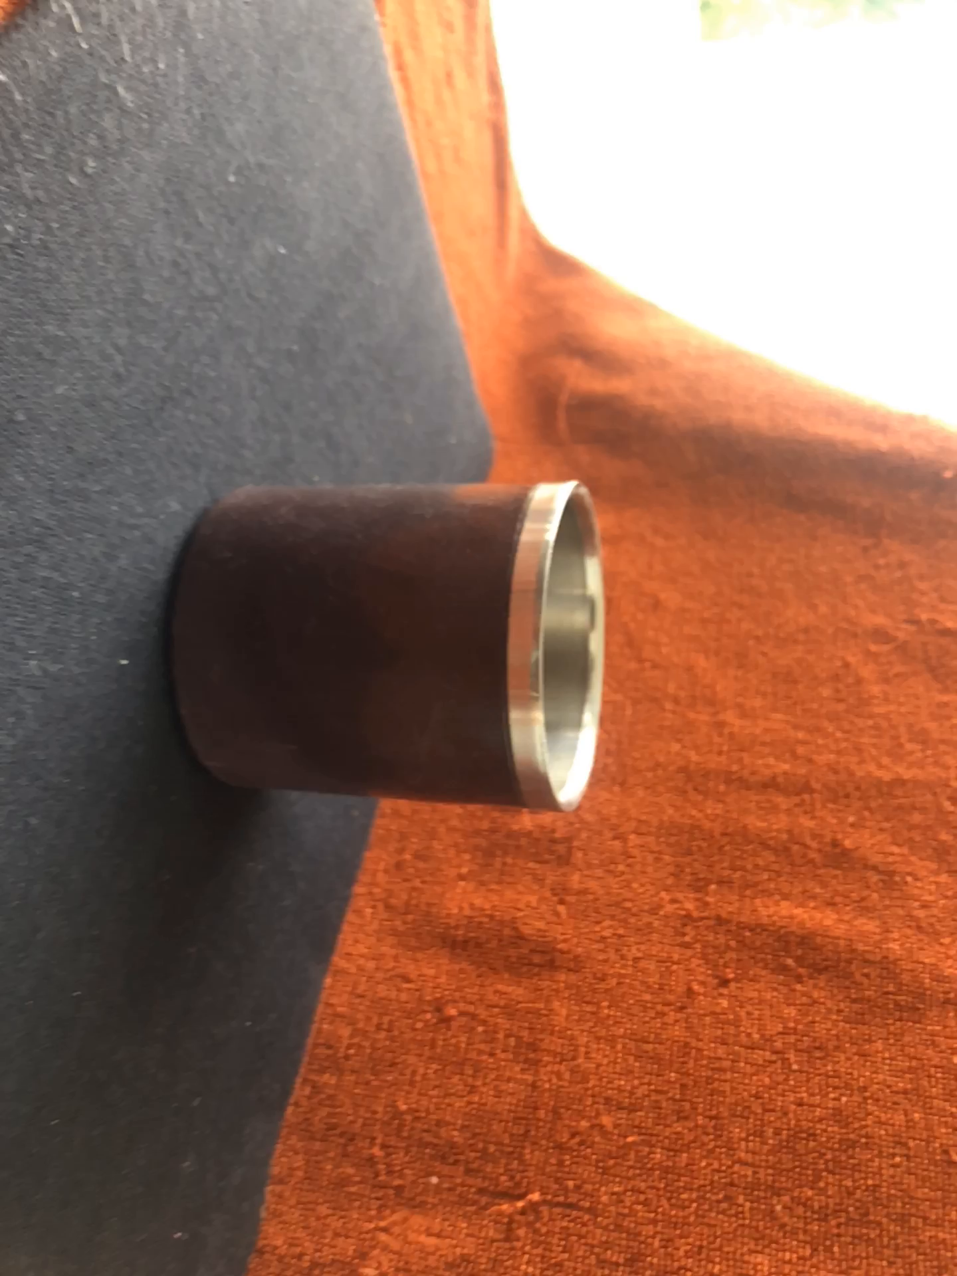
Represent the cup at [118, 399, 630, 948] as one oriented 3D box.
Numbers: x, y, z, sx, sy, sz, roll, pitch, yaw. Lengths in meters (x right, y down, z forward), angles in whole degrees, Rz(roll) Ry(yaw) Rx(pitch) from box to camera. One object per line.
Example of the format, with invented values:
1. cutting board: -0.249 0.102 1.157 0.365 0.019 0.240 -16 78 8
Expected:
1. cup: -0.014 0.010 0.287 0.110 0.090 0.090 76 23 -44
